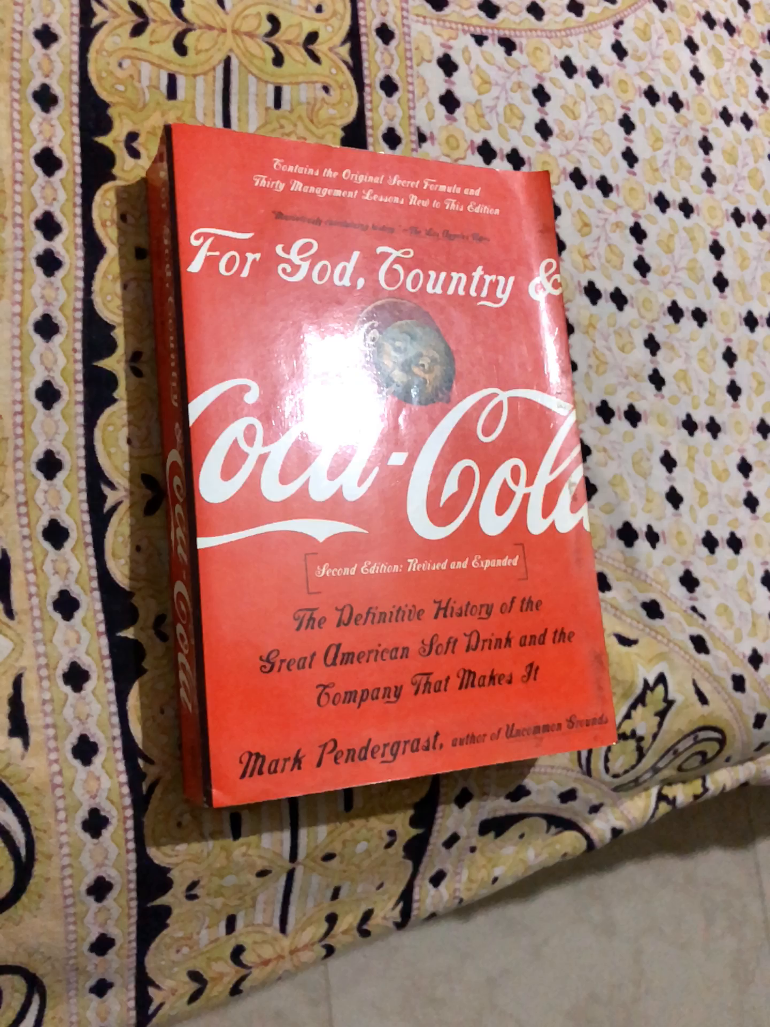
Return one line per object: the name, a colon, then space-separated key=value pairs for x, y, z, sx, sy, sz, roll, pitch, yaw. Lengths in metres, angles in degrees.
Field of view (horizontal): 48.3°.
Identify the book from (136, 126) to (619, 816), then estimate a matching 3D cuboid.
book: x=-0.005 y=-0.019 z=0.334 sx=0.160 sy=0.050 sz=0.230 roll=-2 pitch=81 yaw=-23
